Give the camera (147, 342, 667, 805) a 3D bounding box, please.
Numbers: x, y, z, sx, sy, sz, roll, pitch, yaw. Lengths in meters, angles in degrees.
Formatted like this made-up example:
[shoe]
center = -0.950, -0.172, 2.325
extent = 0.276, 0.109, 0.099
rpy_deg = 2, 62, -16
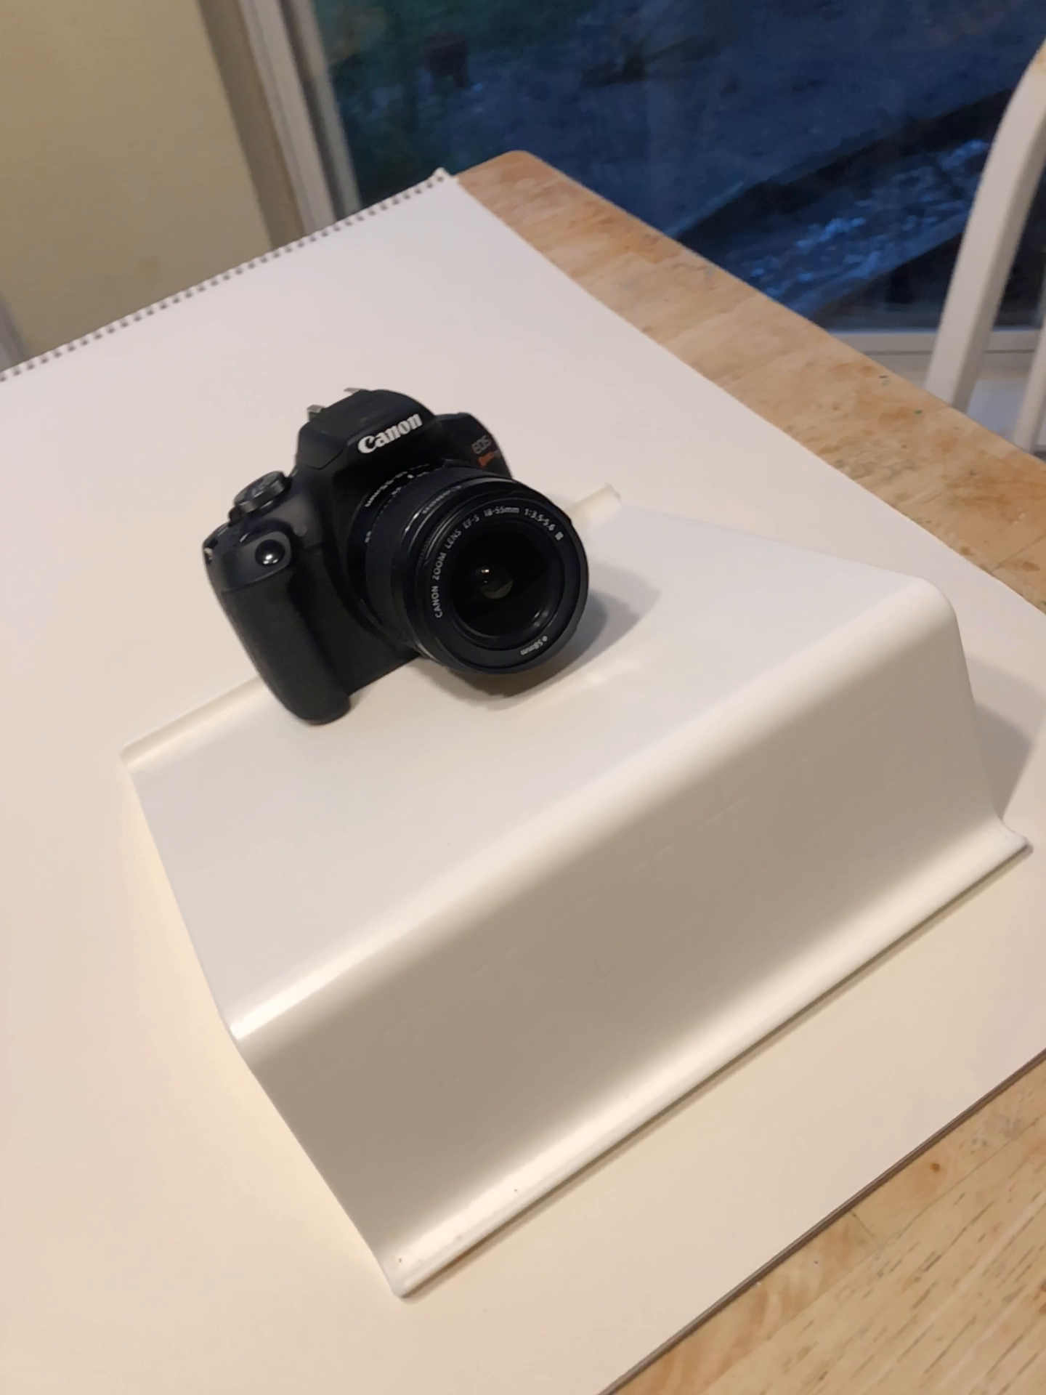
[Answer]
[camera]
center = -0.049, -0.056, 0.432
extent = 0.125, 0.104, 0.140
rpy_deg = -29, 24, -15
